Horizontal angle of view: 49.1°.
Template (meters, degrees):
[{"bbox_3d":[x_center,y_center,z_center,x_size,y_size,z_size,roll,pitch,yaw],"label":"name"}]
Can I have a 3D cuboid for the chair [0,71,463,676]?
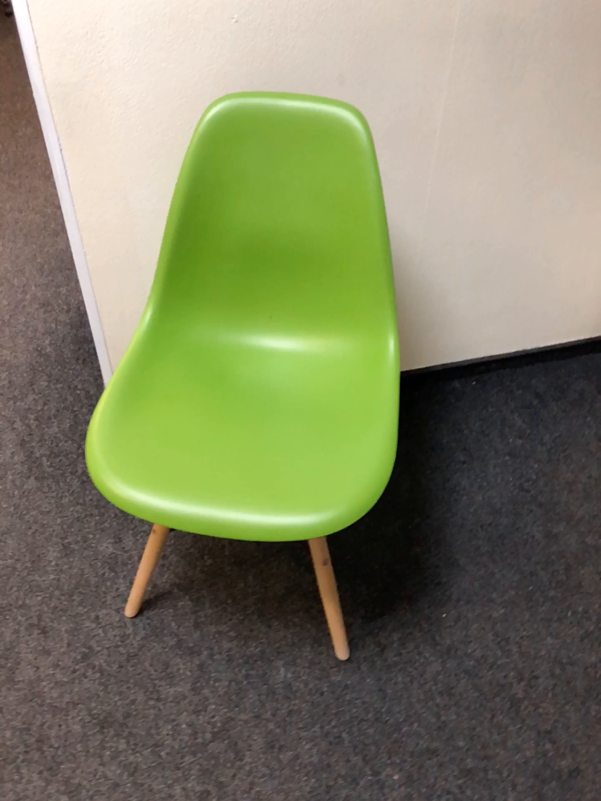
[{"bbox_3d":[-0.056,-0.042,1.064,0.480,0.705,0.584,9,44,8],"label":"chair"}]
